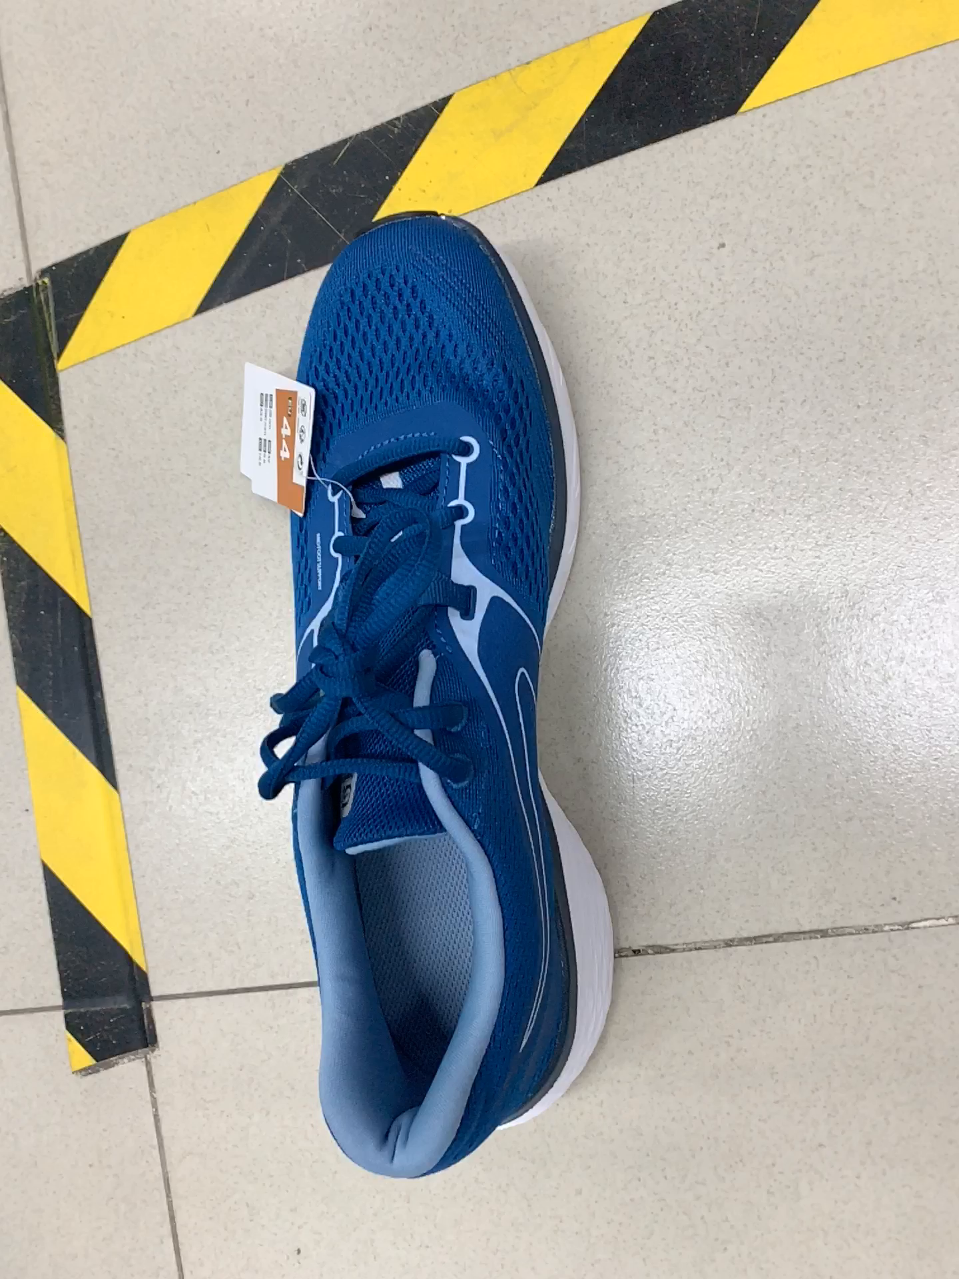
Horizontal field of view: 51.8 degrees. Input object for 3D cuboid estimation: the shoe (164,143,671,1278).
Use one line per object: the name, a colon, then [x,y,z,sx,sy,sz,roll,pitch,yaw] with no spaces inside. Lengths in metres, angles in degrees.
shoe: [-0.020,0.019,0.298,0.110,0.070,0.290,-8,81,19]
